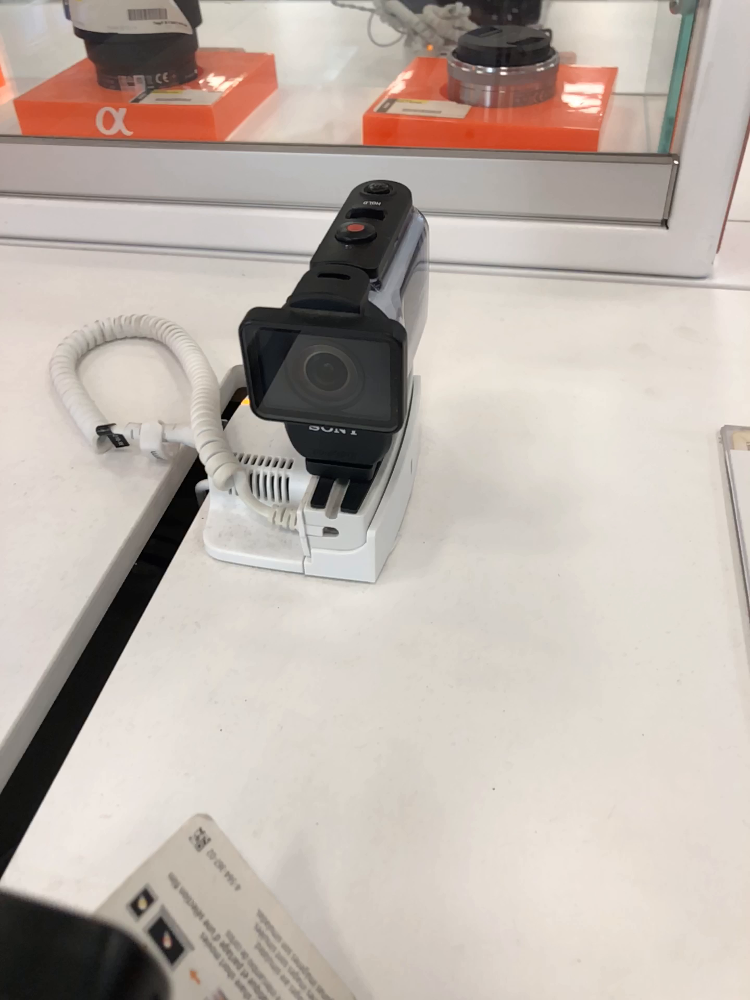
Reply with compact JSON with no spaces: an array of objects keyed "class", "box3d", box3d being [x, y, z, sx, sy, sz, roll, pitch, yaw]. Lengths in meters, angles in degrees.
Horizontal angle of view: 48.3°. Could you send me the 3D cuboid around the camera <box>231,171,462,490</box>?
[{"class":"camera","box3d":[-0.003,-0.057,0.266,0.050,0.060,0.090,6,42,10]}]
